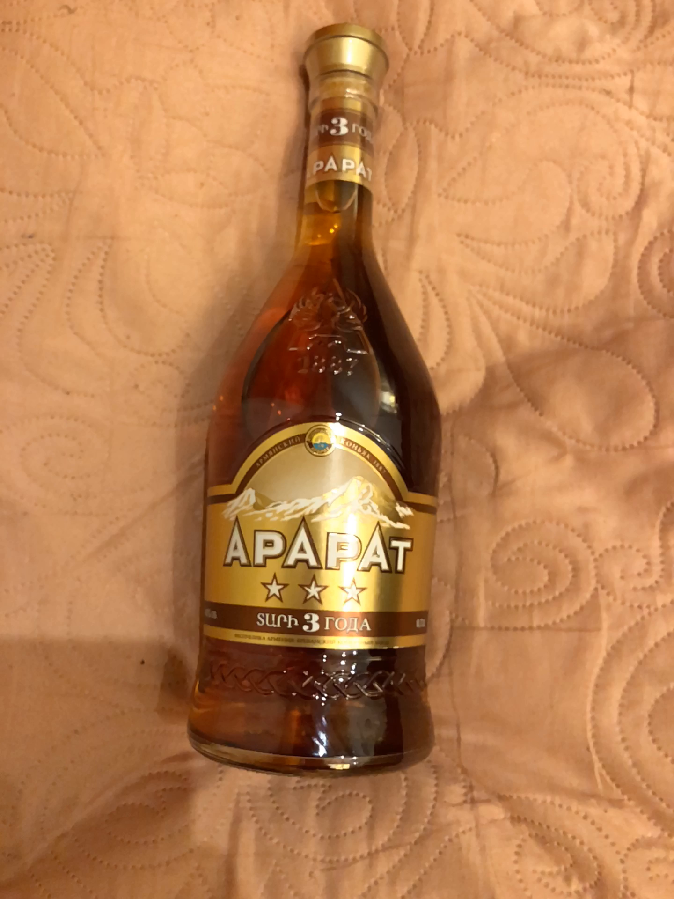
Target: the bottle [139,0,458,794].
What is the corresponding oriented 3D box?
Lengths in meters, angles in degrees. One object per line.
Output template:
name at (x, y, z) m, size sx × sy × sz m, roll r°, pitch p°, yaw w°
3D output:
bottle at (-0.002, -0.024, 0.279) m, size 0.090 × 0.090 × 0.258 m, roll 0°, pitch 77°, yaw 9°
